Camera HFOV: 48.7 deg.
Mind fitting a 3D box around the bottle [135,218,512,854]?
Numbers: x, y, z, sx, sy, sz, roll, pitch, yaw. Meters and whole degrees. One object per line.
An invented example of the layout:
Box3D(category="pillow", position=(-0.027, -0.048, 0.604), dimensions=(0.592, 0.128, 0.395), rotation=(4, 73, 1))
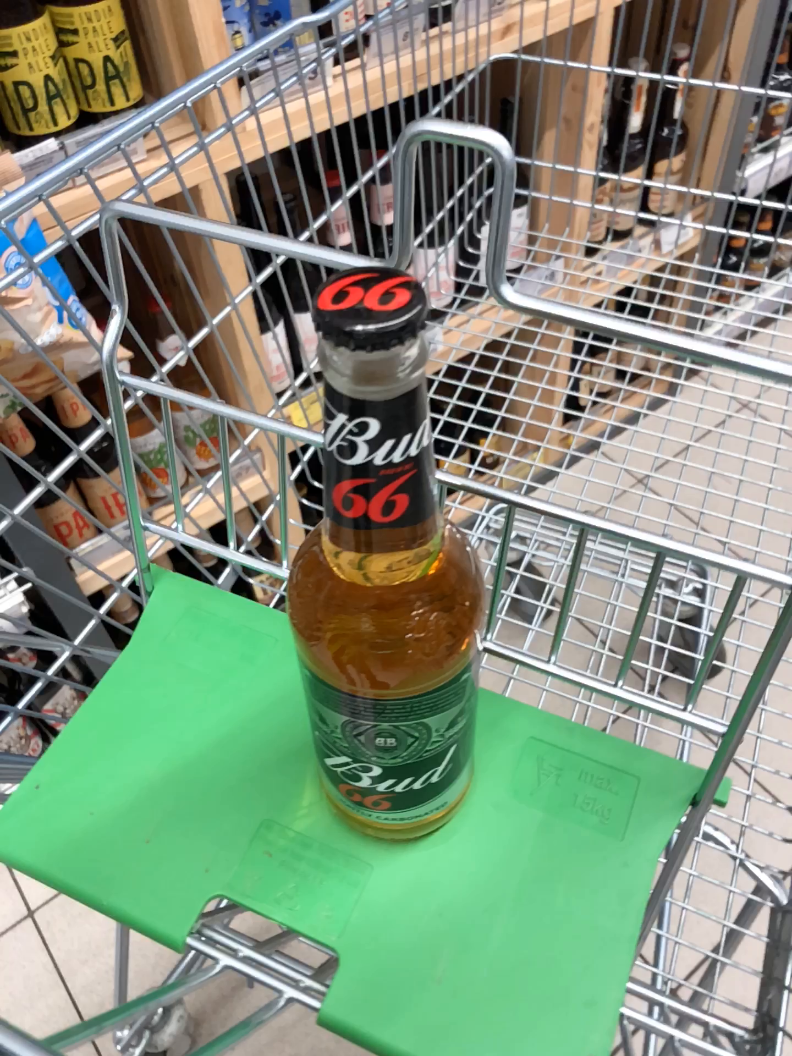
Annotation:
Box3D(category="bottle", position=(-0.007, 0.025, 0.296), dimensions=(0.080, 0.239, 0.070), rotation=(2, 48, 6))
